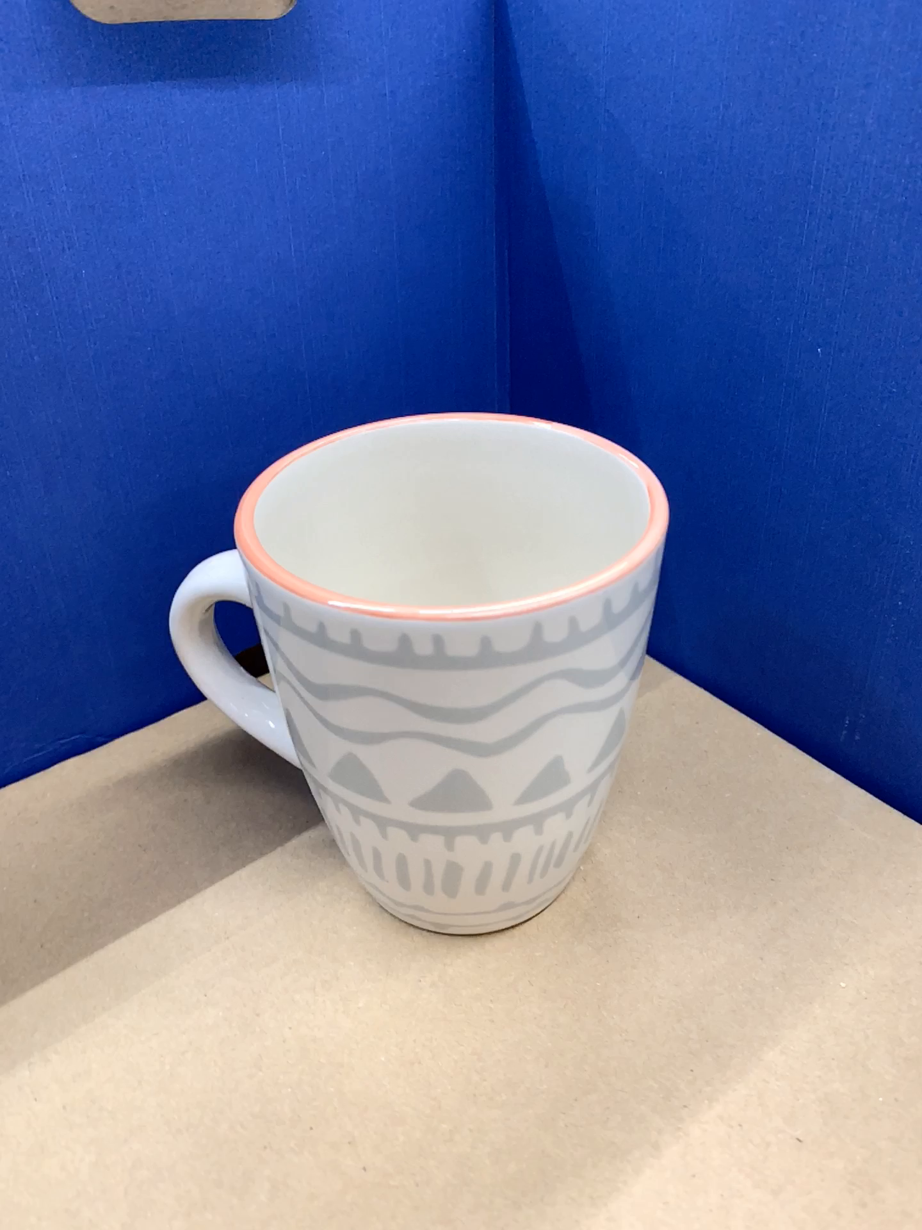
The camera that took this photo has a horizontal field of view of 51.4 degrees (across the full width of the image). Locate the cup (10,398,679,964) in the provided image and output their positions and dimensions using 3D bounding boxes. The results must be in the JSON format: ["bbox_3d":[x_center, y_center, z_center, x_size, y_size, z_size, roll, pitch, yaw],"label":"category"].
[{"bbox_3d":[-0.014,0.007,0.226,0.119,0.082,0.097,4,32,9],"label":"cup"}]
